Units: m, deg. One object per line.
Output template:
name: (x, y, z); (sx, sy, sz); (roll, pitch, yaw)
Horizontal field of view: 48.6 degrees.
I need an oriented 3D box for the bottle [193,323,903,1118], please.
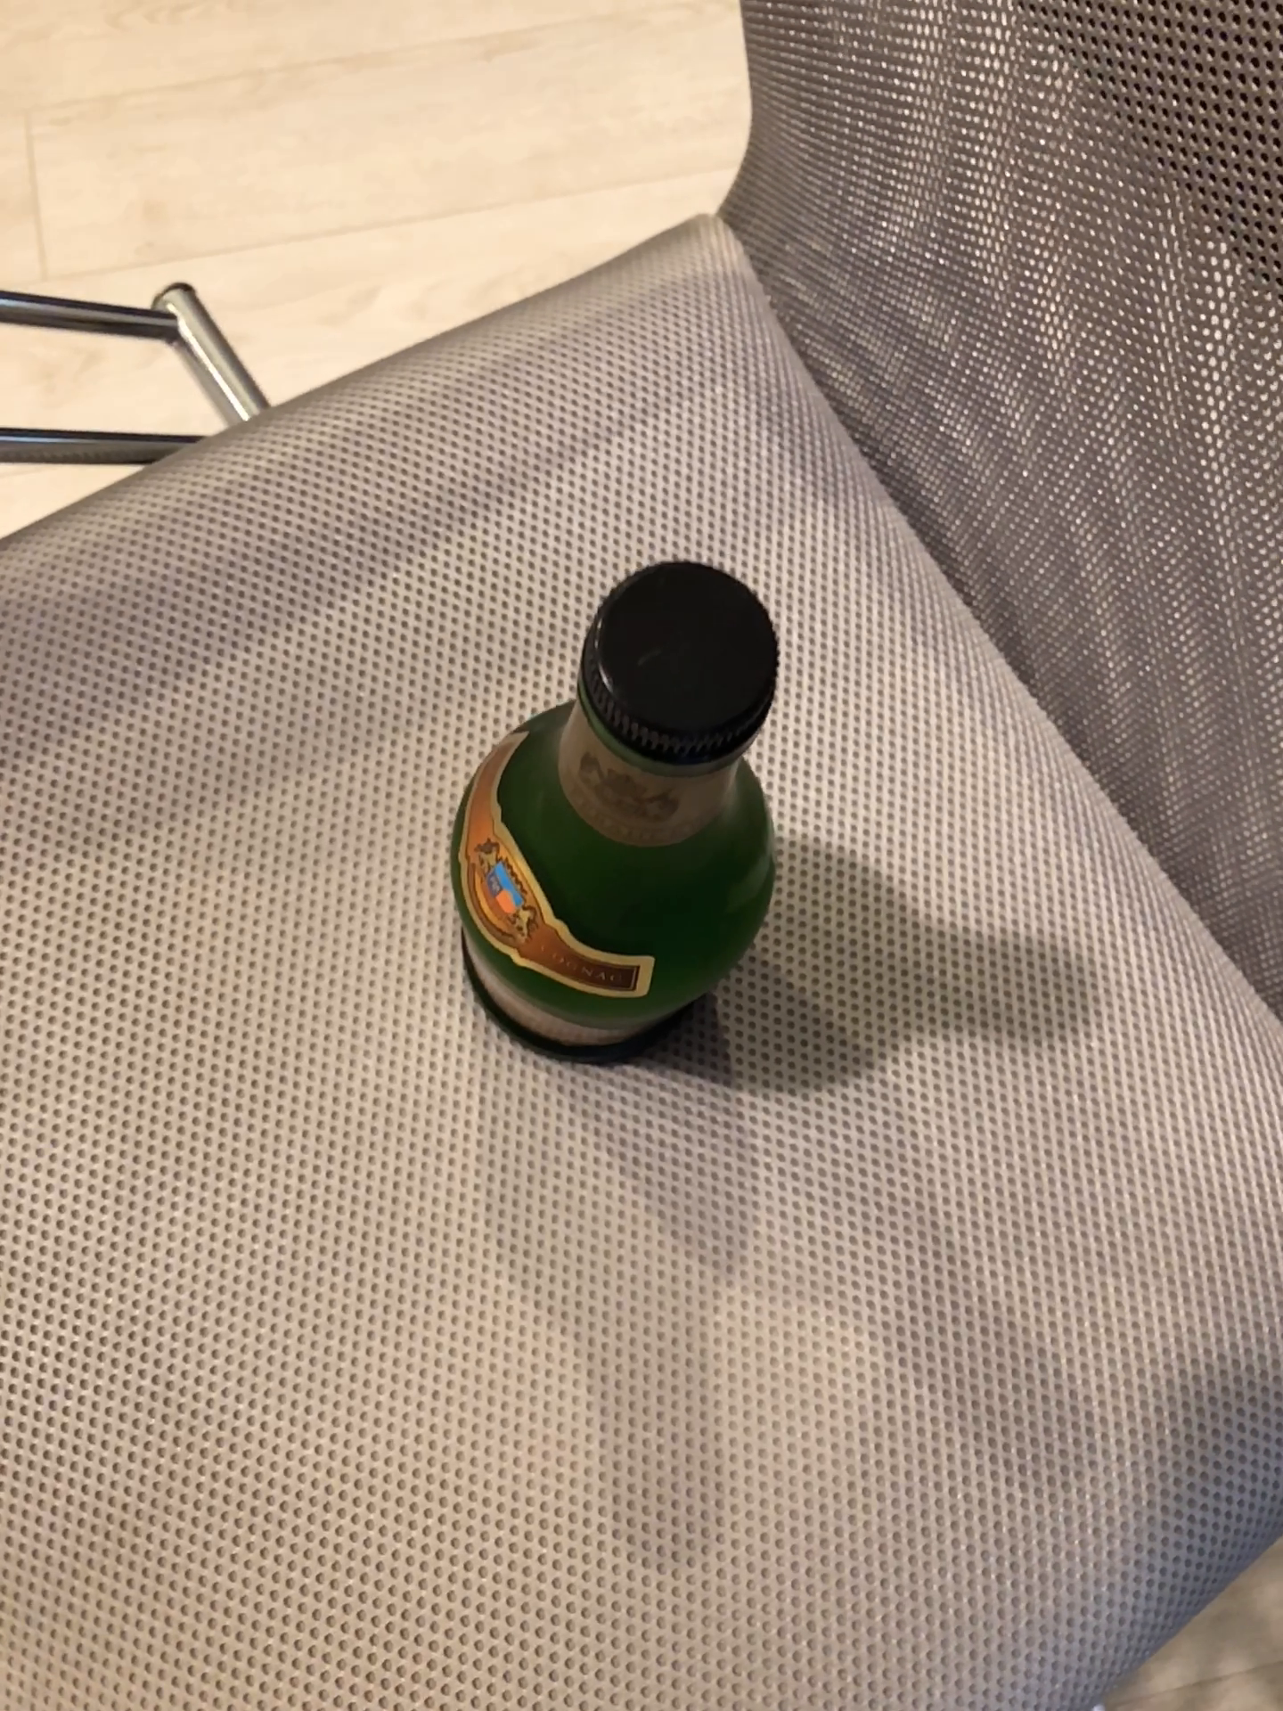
bottle: (-0.015, -0.001, 0.319); (0.074, 0.240, 0.078); (0, 76, 0)
